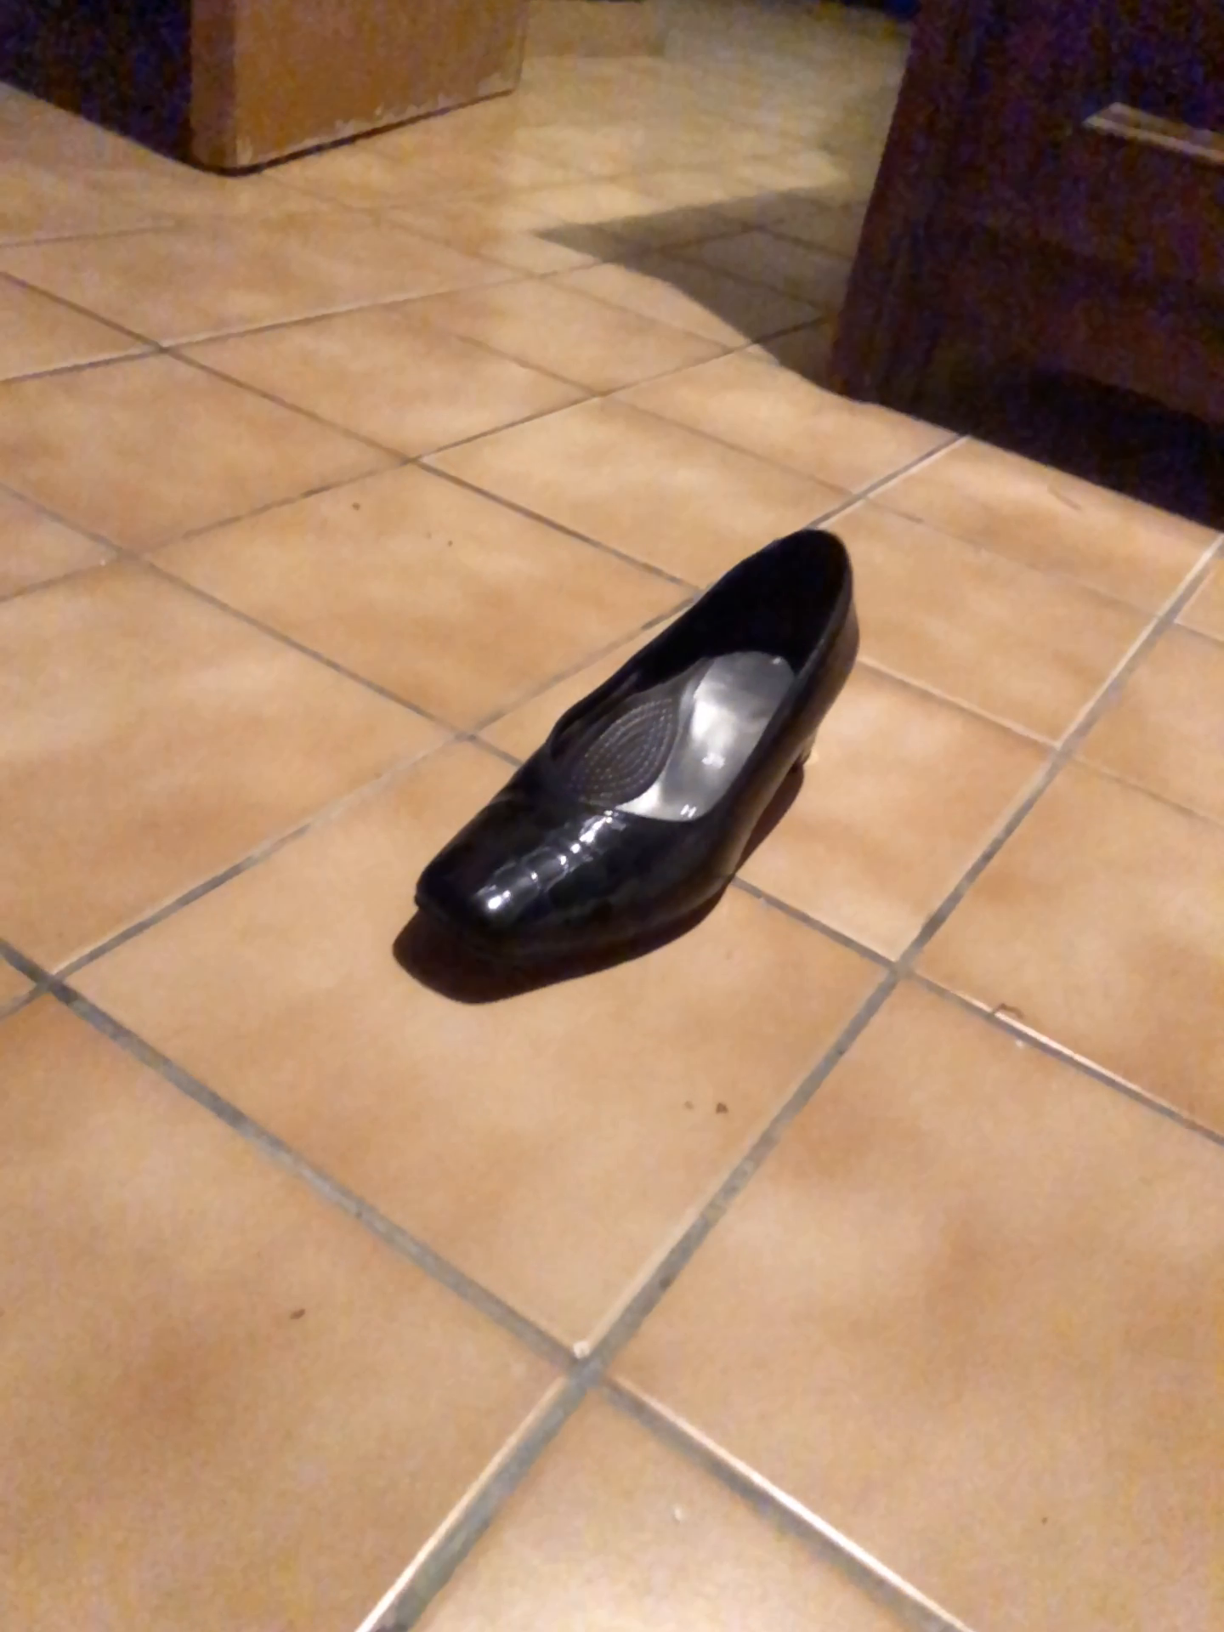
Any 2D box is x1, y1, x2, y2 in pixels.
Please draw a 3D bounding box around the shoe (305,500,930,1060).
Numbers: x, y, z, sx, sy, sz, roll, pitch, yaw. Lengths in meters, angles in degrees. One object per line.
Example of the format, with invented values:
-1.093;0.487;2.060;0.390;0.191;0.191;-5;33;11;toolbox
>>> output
0.013;-0.031;0.509;0.100;0.089;0.252;29;38;23;shoe
